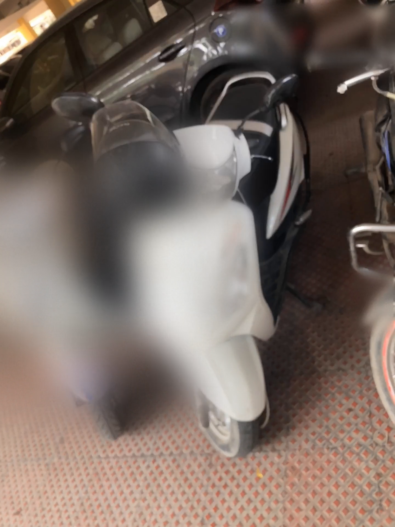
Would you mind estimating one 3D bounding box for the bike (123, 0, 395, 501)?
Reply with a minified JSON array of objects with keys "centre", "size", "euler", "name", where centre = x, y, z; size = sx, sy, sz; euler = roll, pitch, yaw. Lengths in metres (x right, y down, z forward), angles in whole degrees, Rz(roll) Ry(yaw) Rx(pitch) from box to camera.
[{"centre":[0.417,-0.167,1.685],"size":[0.833,0.941,1.514],"euler":[-19,44,25],"name":"bike"}]
